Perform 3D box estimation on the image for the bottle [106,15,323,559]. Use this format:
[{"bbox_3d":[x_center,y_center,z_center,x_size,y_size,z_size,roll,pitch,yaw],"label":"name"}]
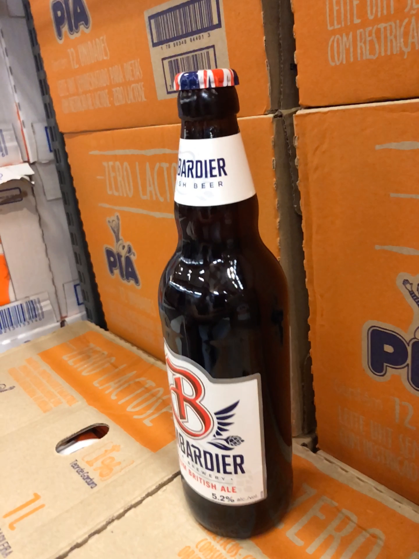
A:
[{"bbox_3d":[0.011,0.017,0.242,0.060,0.258,0.070,-20,25,-34],"label":"bottle"}]
